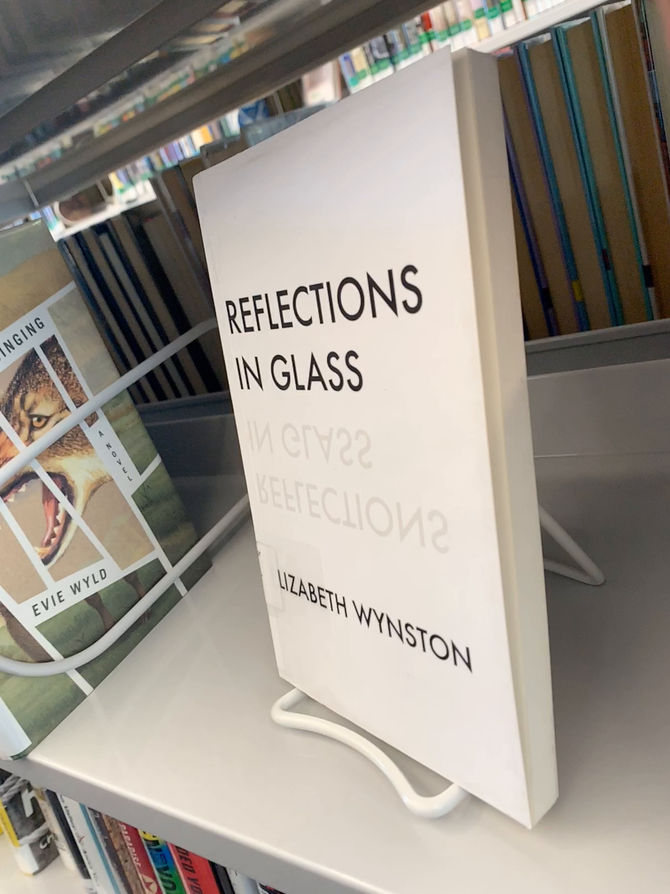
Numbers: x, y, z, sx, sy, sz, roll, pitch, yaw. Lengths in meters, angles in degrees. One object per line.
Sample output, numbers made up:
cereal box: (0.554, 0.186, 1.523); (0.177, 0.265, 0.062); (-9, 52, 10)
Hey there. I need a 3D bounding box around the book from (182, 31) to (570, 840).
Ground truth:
book: (0.006, 0.001, 0.220); (0.018, 0.196, 0.128); (-16, 14, -36)
